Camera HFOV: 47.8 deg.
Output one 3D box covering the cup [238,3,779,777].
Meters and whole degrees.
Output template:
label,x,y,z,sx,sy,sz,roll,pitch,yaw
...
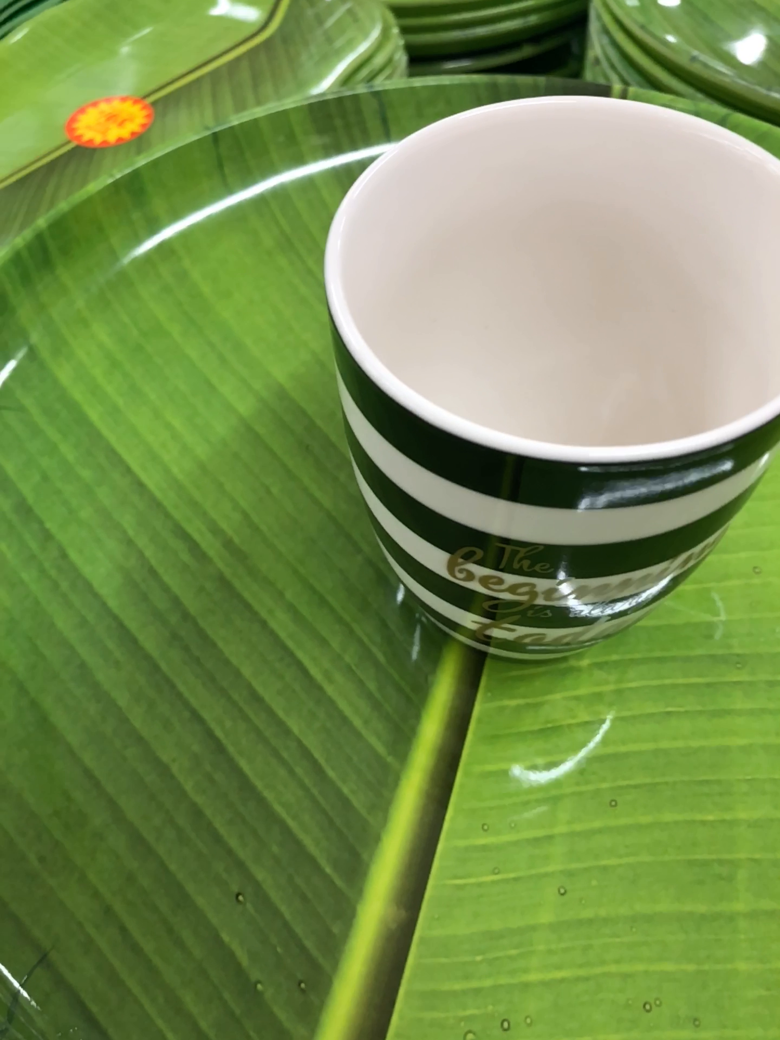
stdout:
label,x,y,z,sx,sy,sz,roll,pitch,yaw
cup,0.051,-0.024,0.164,0.130,0.080,0.080,-17,56,-8
